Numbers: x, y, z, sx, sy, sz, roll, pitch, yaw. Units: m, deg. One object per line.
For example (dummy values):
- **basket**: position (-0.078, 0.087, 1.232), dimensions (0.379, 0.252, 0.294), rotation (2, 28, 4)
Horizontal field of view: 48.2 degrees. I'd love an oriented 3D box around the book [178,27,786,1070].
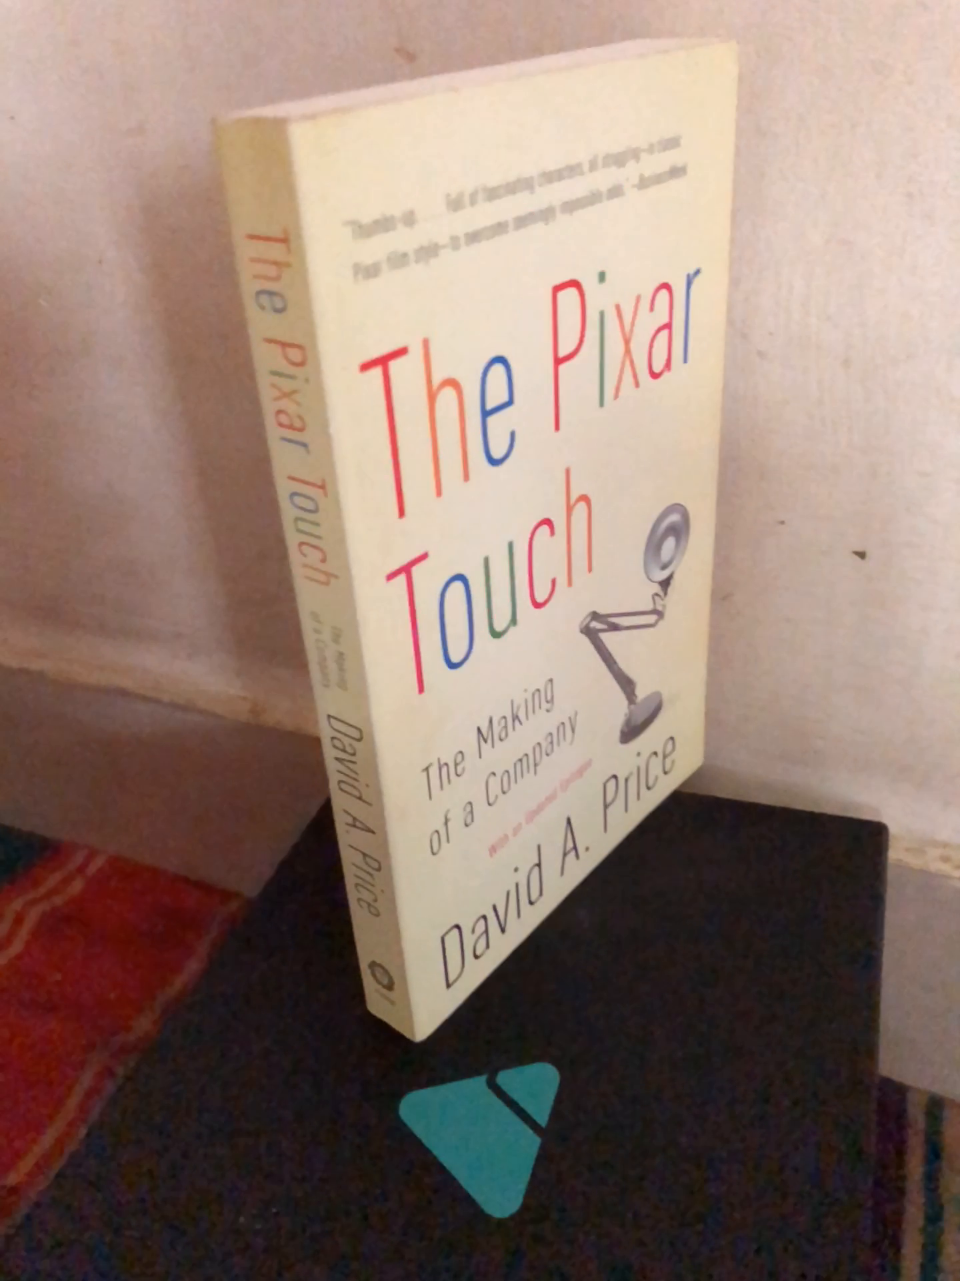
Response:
- **book**: position (0.016, -0.022, 0.247), dimensions (0.030, 0.199, 0.140), rotation (20, 38, 34)
